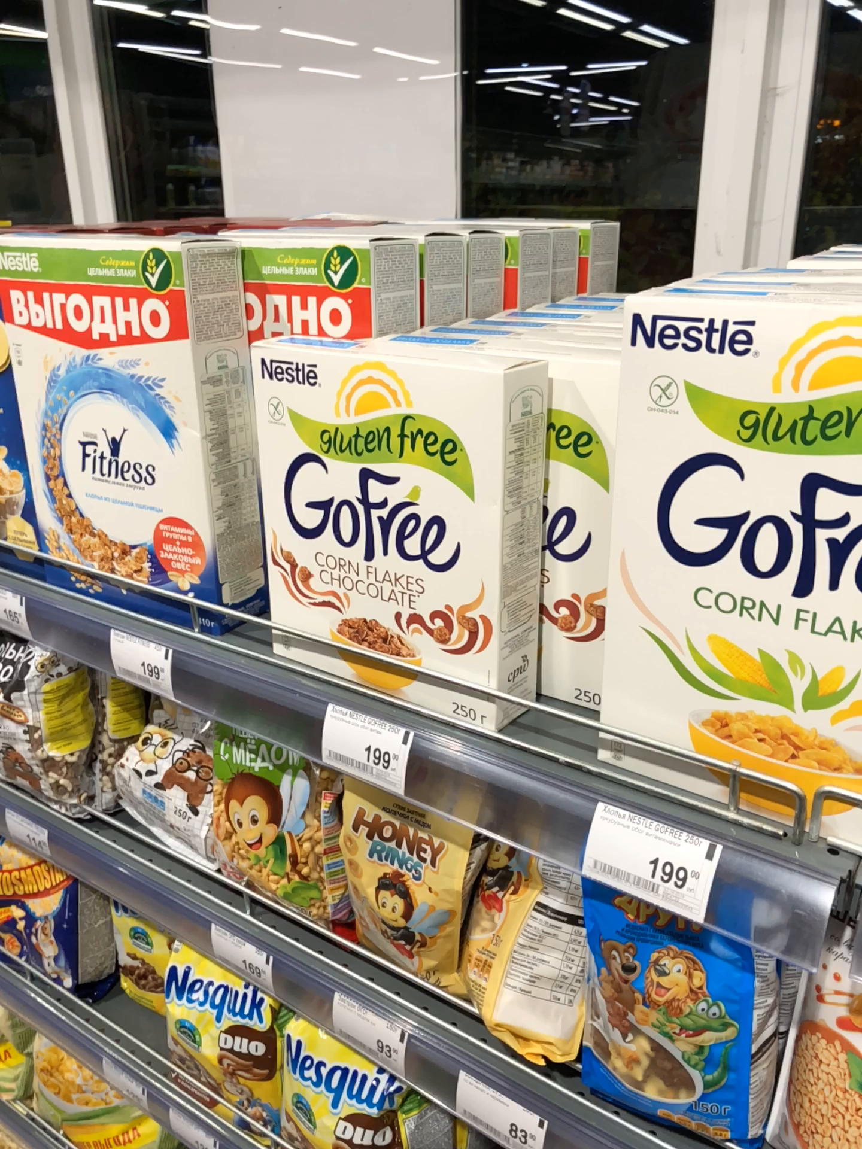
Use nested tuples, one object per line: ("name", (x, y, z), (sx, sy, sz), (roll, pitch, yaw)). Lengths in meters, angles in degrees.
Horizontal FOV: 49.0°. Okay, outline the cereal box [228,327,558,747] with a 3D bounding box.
("cereal box", (-0.028, -0.033, 0.591), (0.200, 0.219, 0.060), (15, 25, 35))
